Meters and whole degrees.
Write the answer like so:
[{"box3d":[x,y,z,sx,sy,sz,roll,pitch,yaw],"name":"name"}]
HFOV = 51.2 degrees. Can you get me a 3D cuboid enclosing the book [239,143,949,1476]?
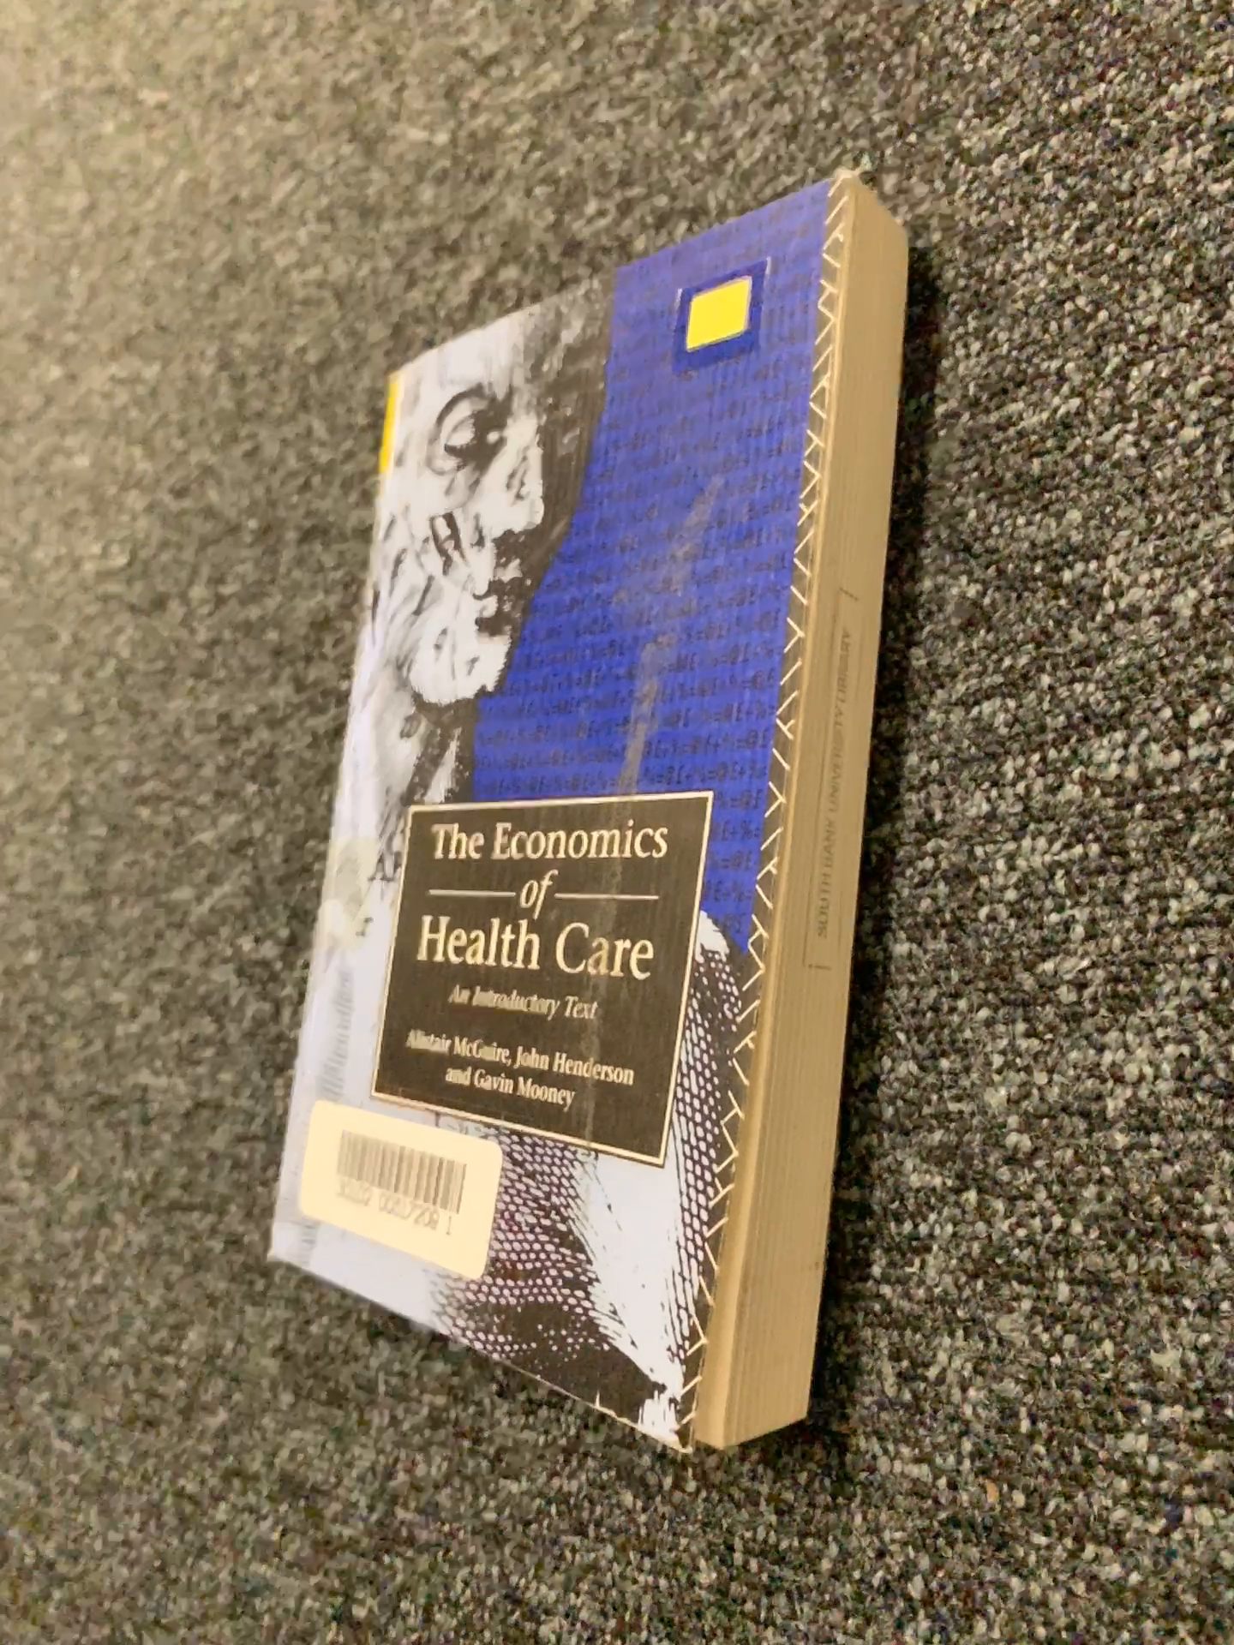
[{"box3d":[-0.011,-0.006,0.255,0.136,0.030,0.207,-1,78,45],"name":"book"}]
